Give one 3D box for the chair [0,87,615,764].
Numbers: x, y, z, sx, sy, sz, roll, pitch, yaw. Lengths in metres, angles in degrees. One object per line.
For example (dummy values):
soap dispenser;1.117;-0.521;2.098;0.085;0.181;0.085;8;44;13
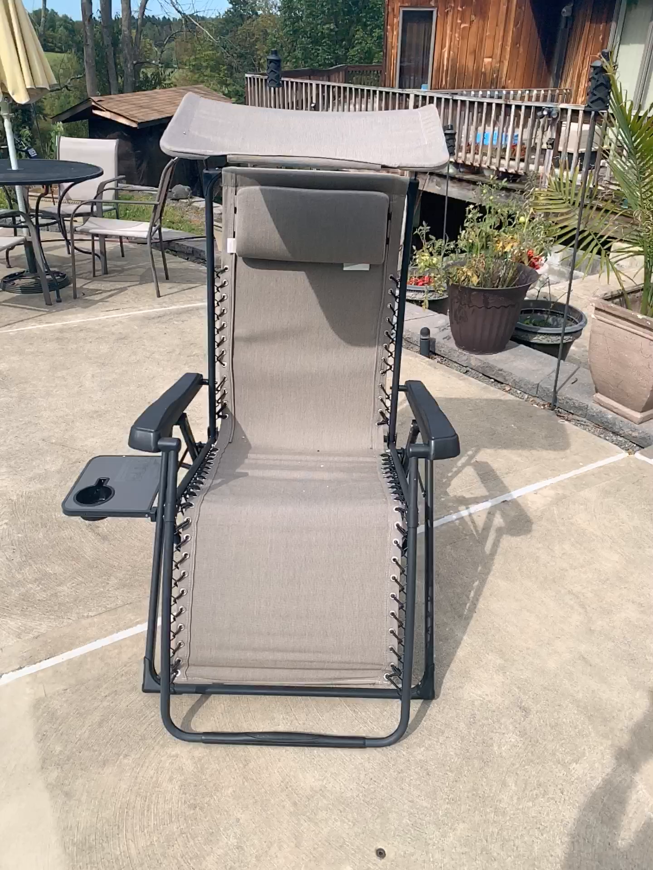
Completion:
chair;-0.212;-0.086;1.440;1.060;1.137;0.914;1;29;0
